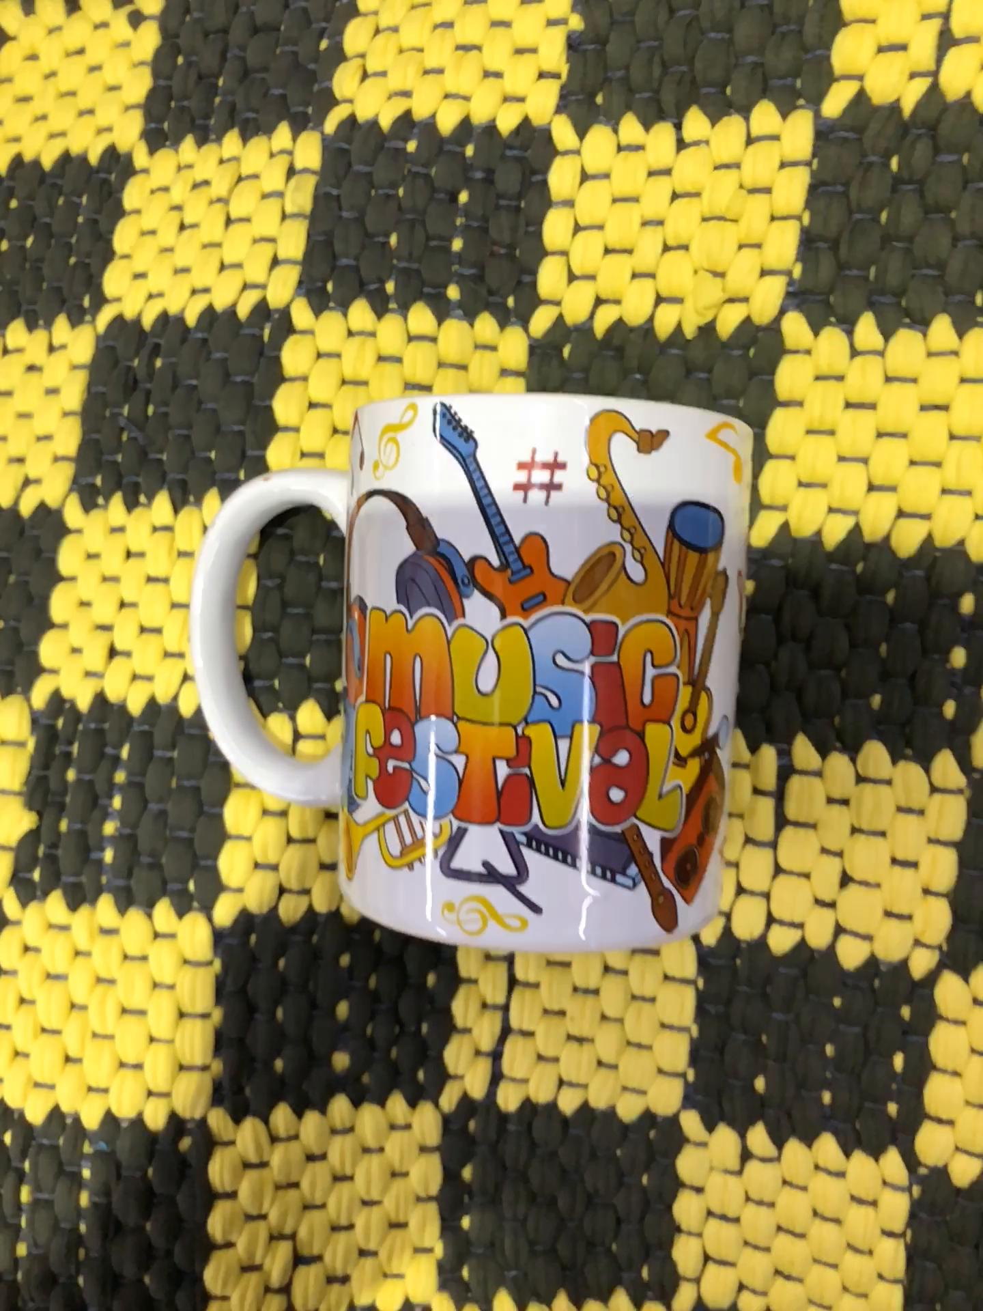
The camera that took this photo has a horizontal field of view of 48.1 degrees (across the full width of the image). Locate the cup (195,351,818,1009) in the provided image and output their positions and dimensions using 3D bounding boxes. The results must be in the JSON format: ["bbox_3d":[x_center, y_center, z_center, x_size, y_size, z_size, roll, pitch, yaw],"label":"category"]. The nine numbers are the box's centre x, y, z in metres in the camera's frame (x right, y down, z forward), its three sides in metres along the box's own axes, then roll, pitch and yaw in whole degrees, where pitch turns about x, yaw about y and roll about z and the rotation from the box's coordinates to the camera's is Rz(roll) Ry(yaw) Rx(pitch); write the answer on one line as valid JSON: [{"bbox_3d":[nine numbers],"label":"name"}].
[{"bbox_3d":[0.002,0.001,0.224,0.100,0.070,0.100,1,91,35],"label":"cup"}]
